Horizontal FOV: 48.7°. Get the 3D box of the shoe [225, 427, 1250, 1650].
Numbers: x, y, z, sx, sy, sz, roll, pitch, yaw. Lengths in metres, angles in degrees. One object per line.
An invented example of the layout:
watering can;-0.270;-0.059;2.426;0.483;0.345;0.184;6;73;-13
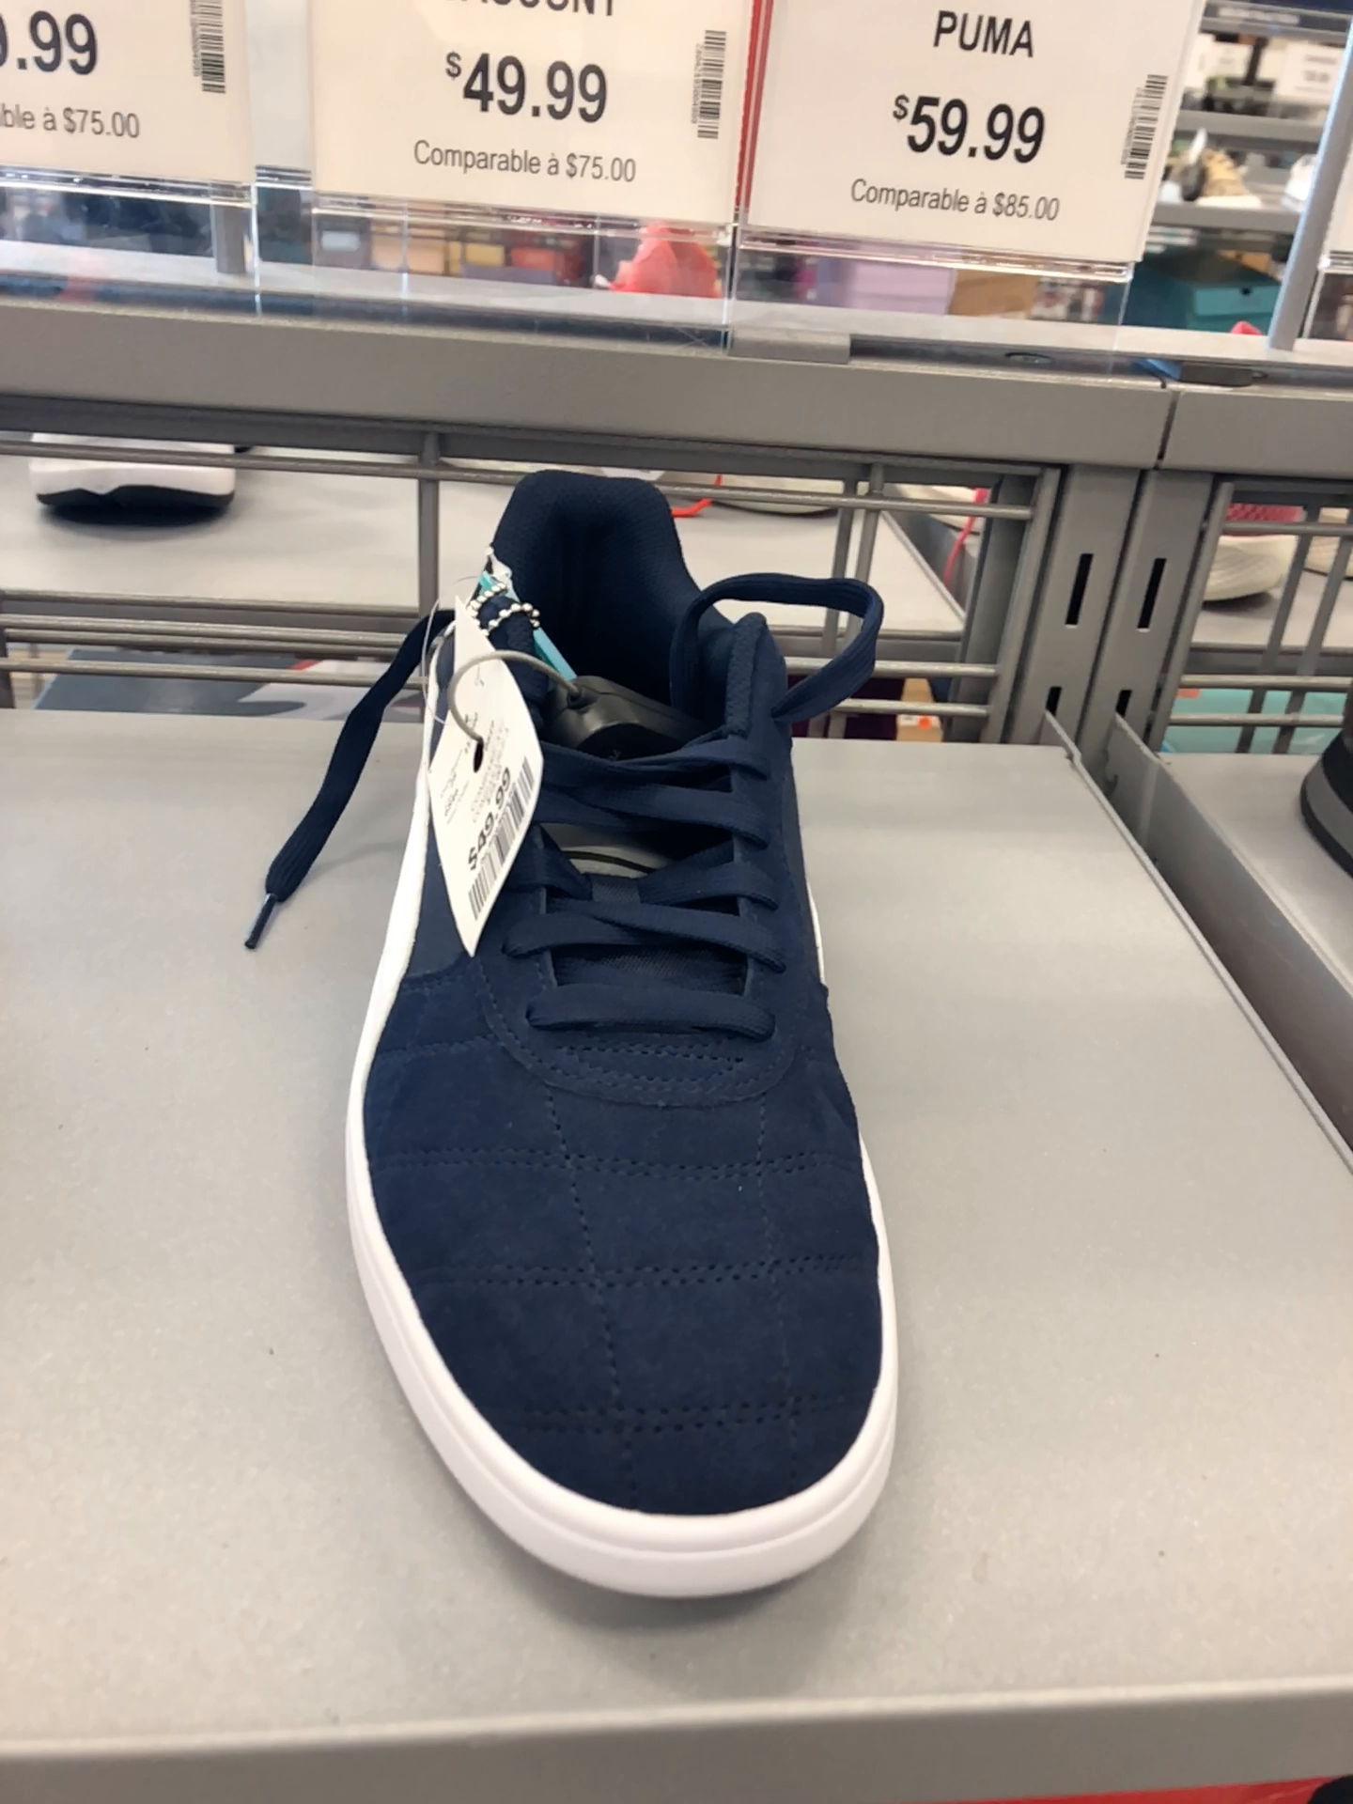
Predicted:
shoe;-0.010;-0.002;0.303;0.119;0.119;0.242;1;31;-9
